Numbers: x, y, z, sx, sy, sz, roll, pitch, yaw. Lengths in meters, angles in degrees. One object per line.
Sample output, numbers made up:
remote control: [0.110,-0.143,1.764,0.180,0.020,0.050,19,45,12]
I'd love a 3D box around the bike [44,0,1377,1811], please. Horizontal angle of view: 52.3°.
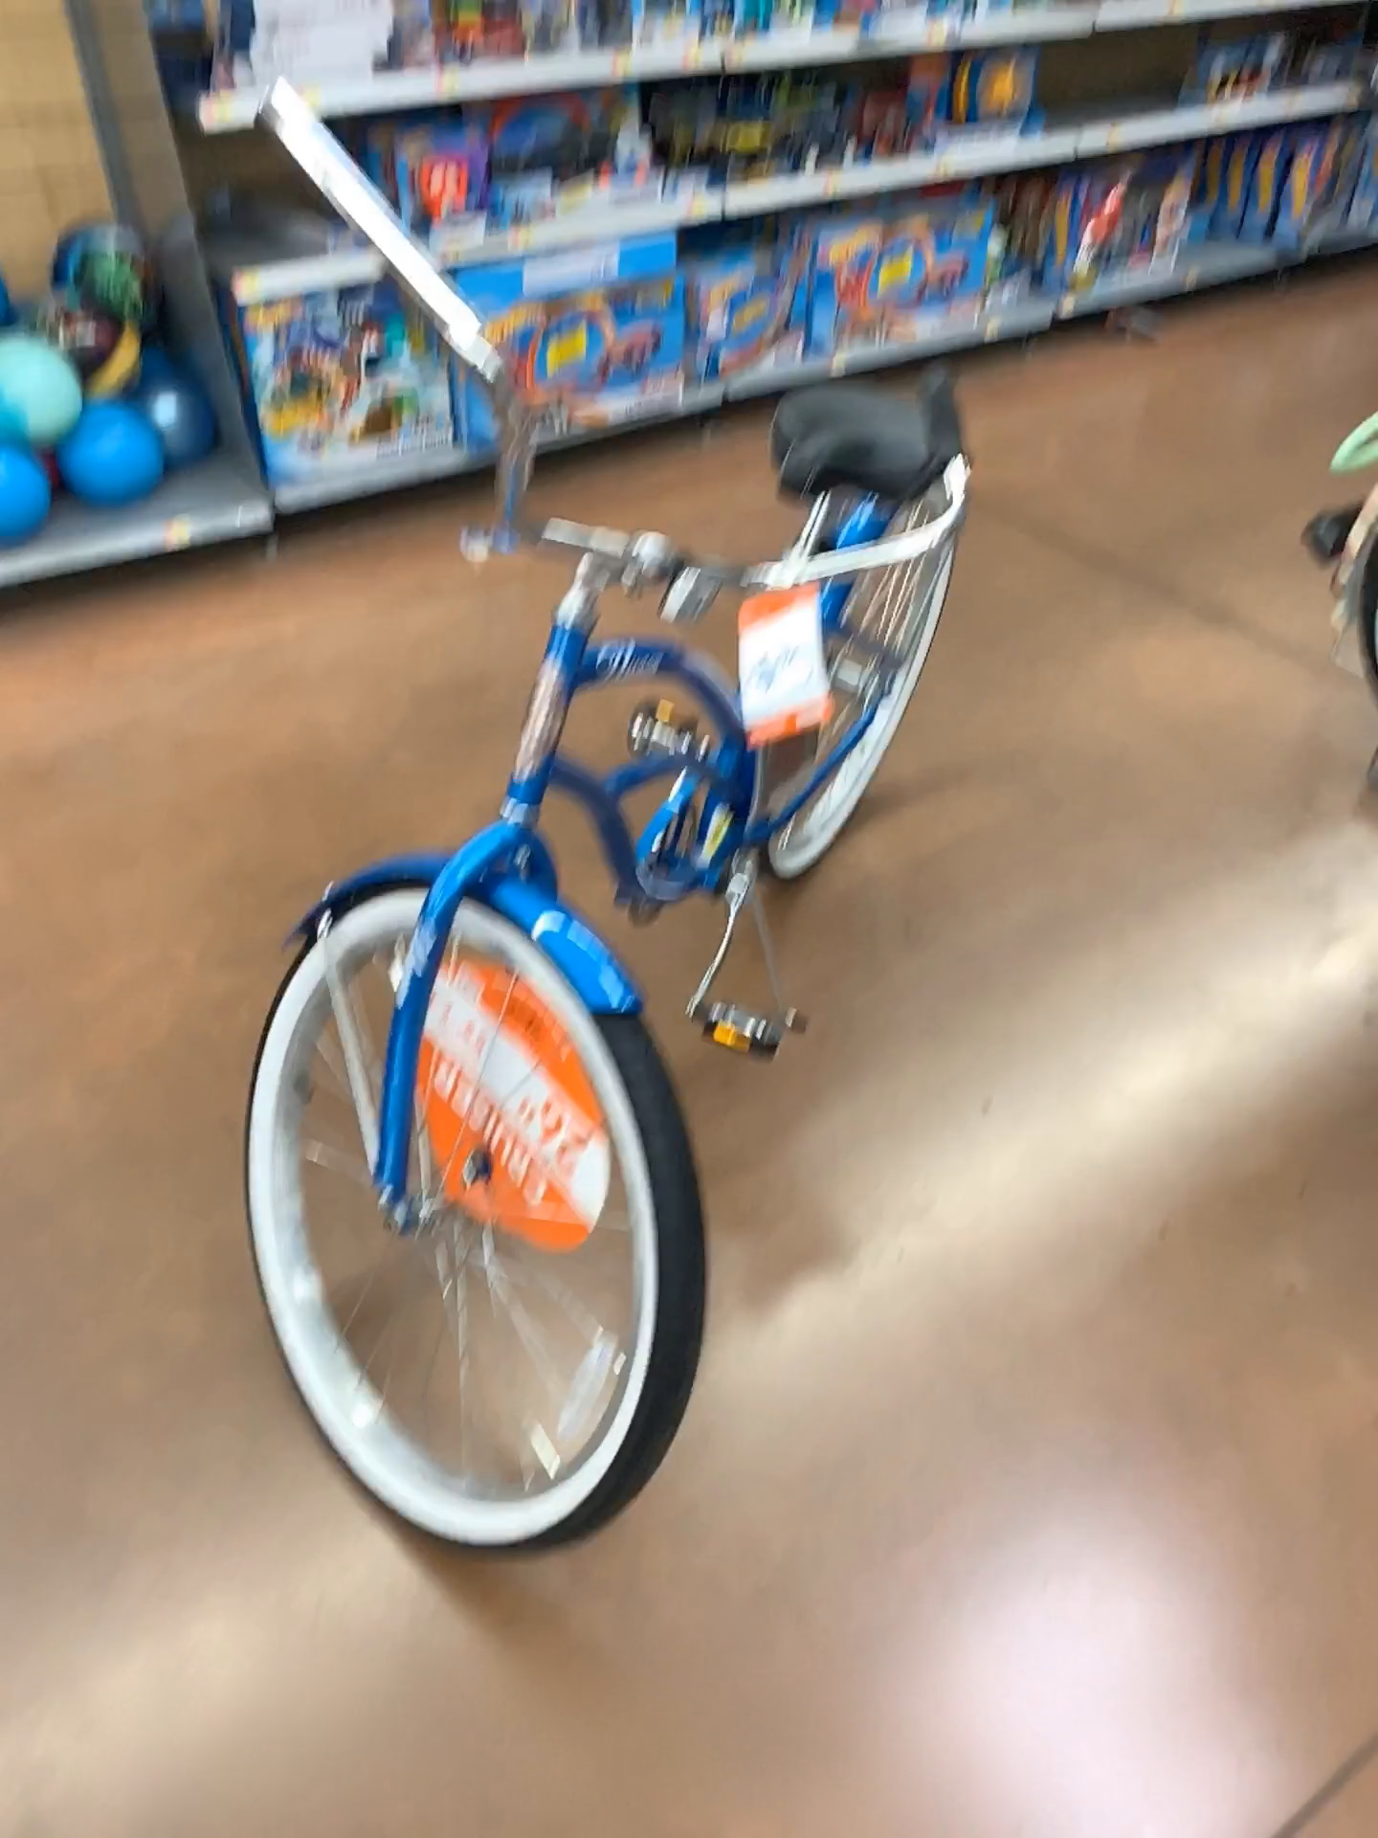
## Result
bike: [0.232,-0.289,1.584,0.874,1.208,1.535,12,42,14]
